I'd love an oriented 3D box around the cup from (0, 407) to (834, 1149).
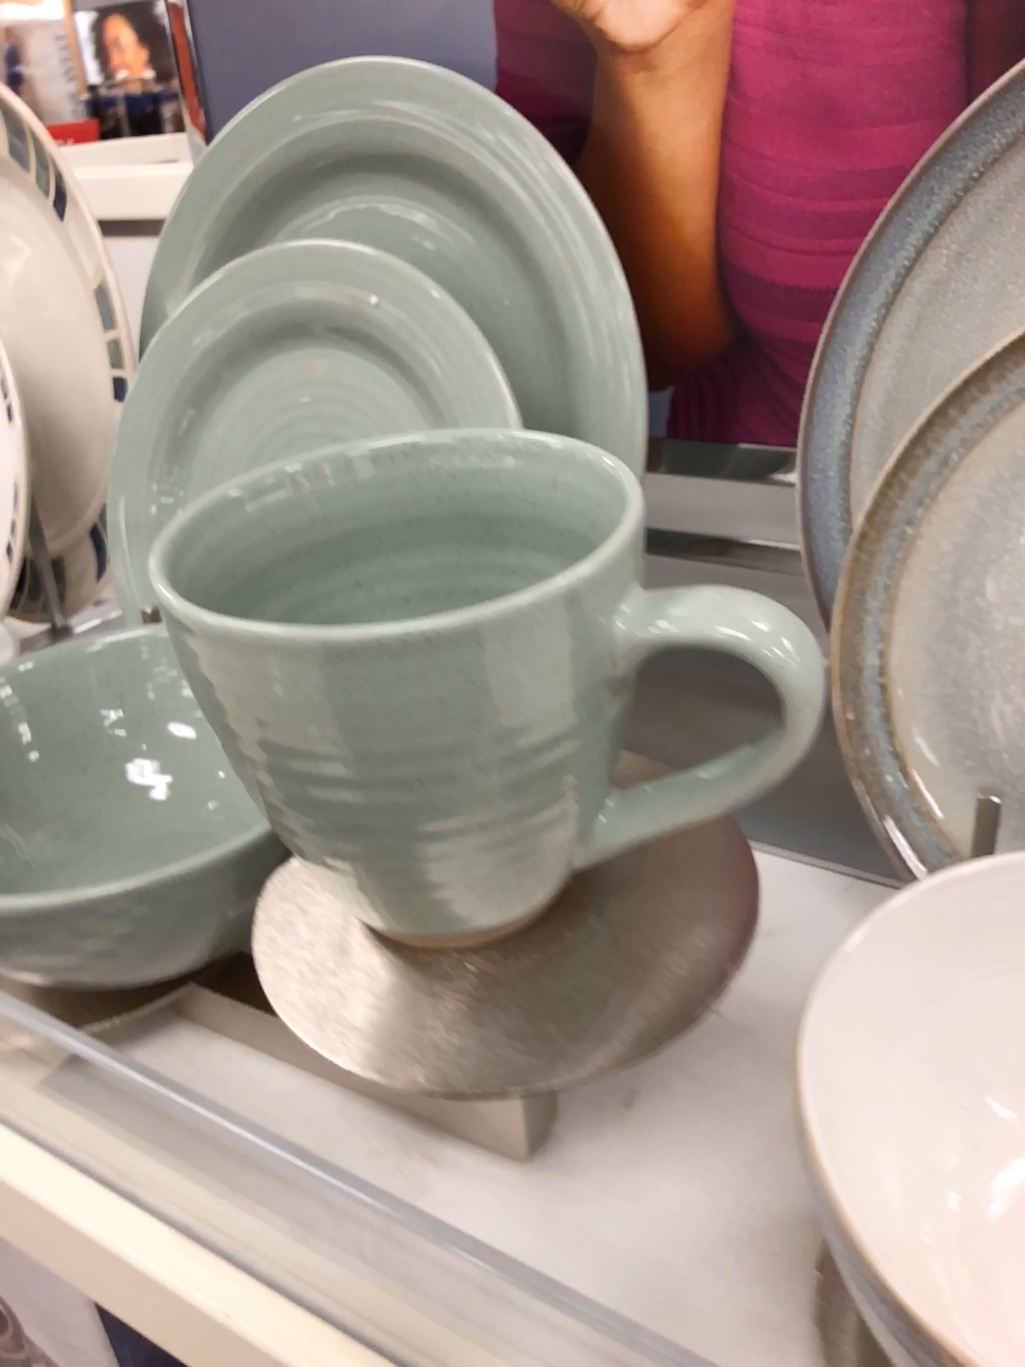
[{"bbox_3d":[-0.009,0.005,0.244,0.129,0.091,0.116,7,32,22],"label":"cup"}]
